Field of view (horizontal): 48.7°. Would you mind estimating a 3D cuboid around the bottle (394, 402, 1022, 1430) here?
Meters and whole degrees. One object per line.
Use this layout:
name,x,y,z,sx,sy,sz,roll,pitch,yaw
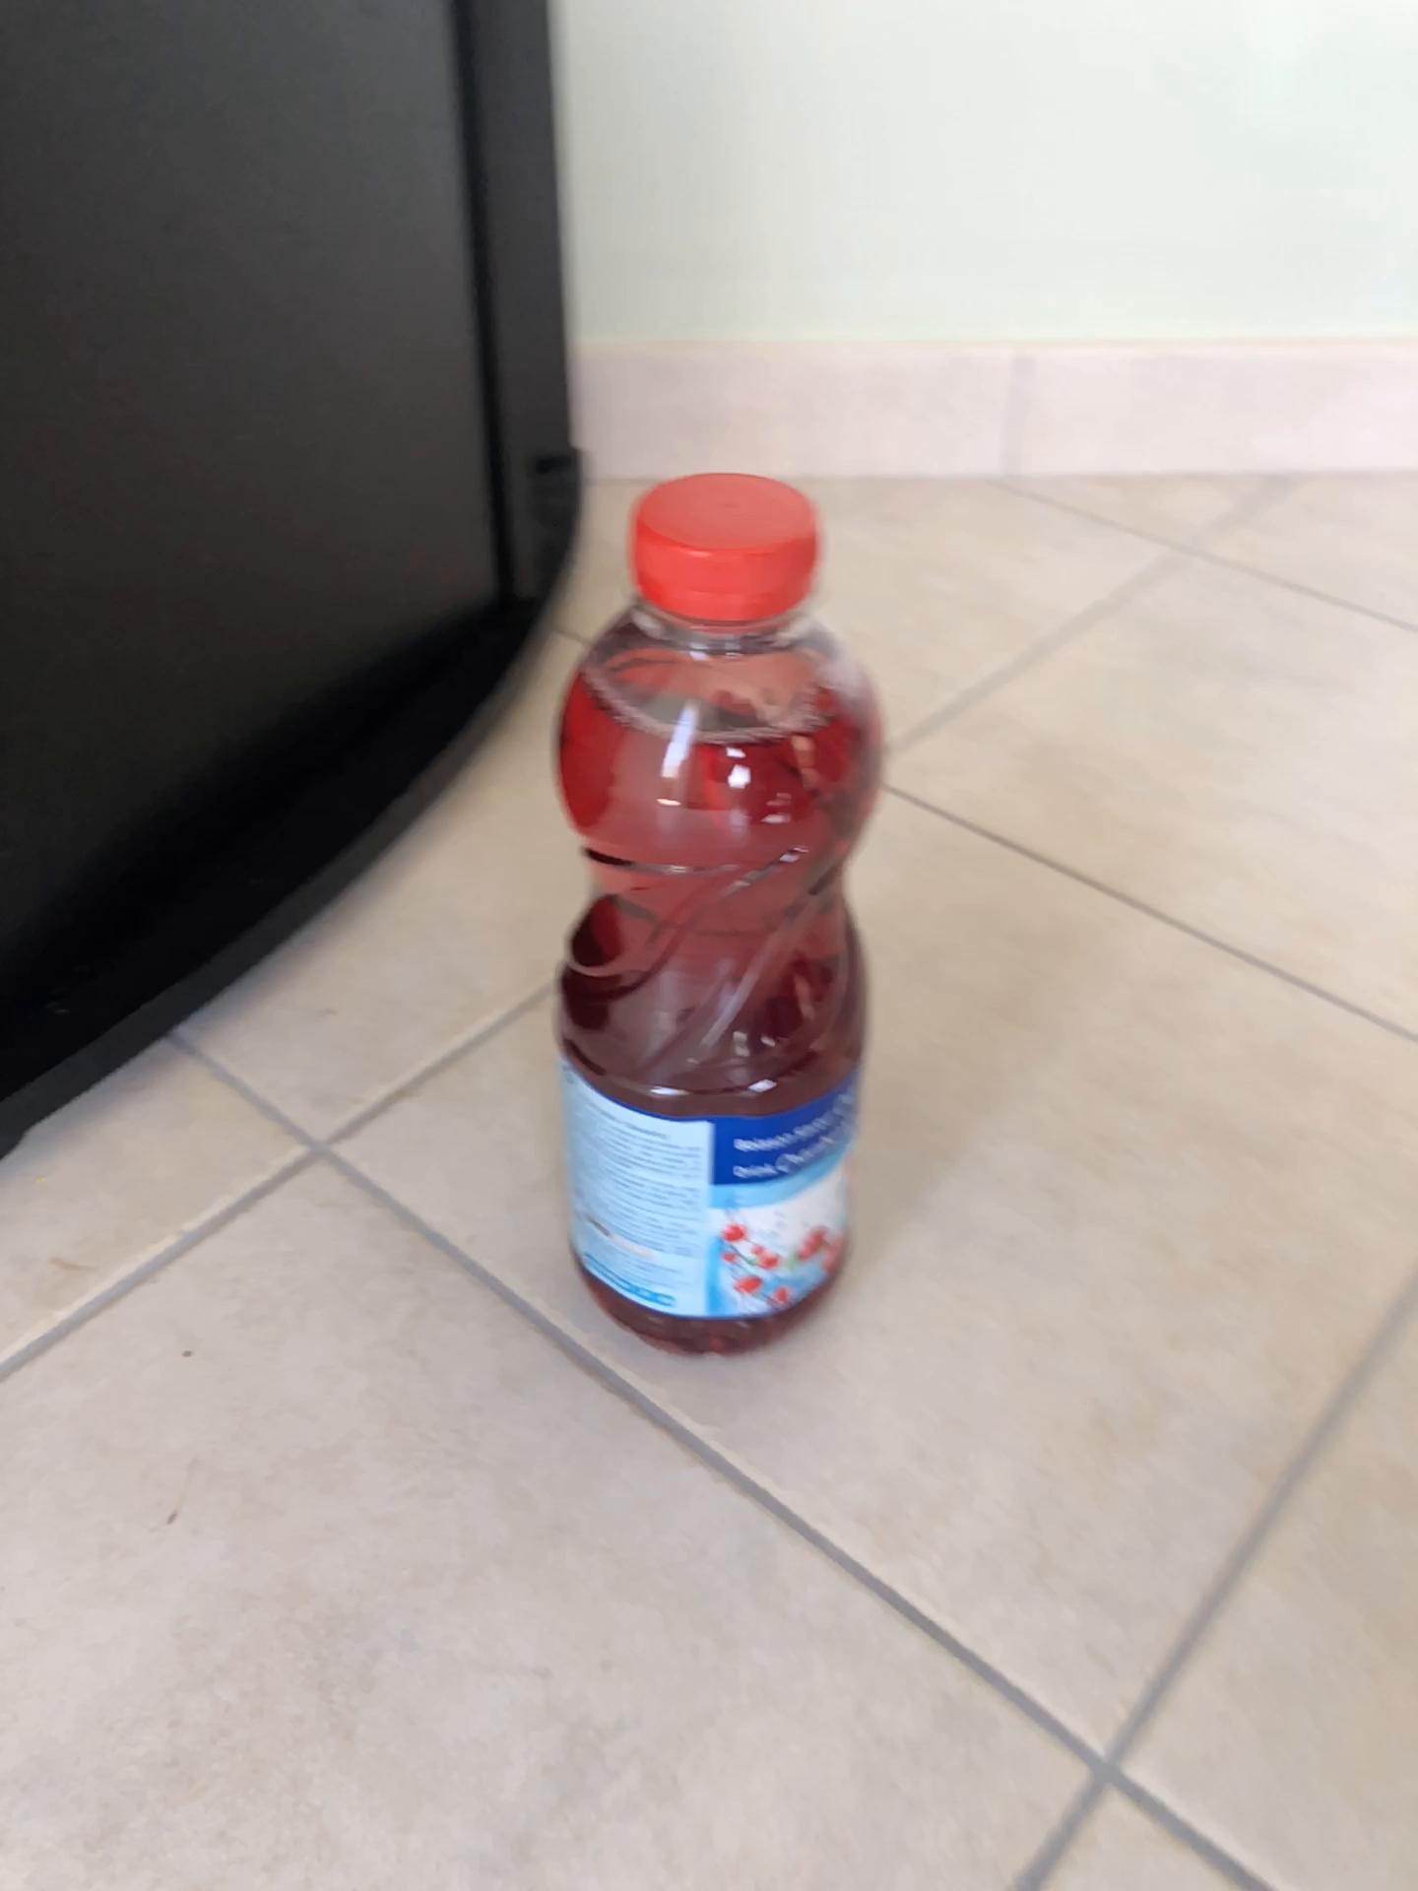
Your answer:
bottle,-0.002,0.001,0.412,0.100,0.238,0.091,30,48,30
